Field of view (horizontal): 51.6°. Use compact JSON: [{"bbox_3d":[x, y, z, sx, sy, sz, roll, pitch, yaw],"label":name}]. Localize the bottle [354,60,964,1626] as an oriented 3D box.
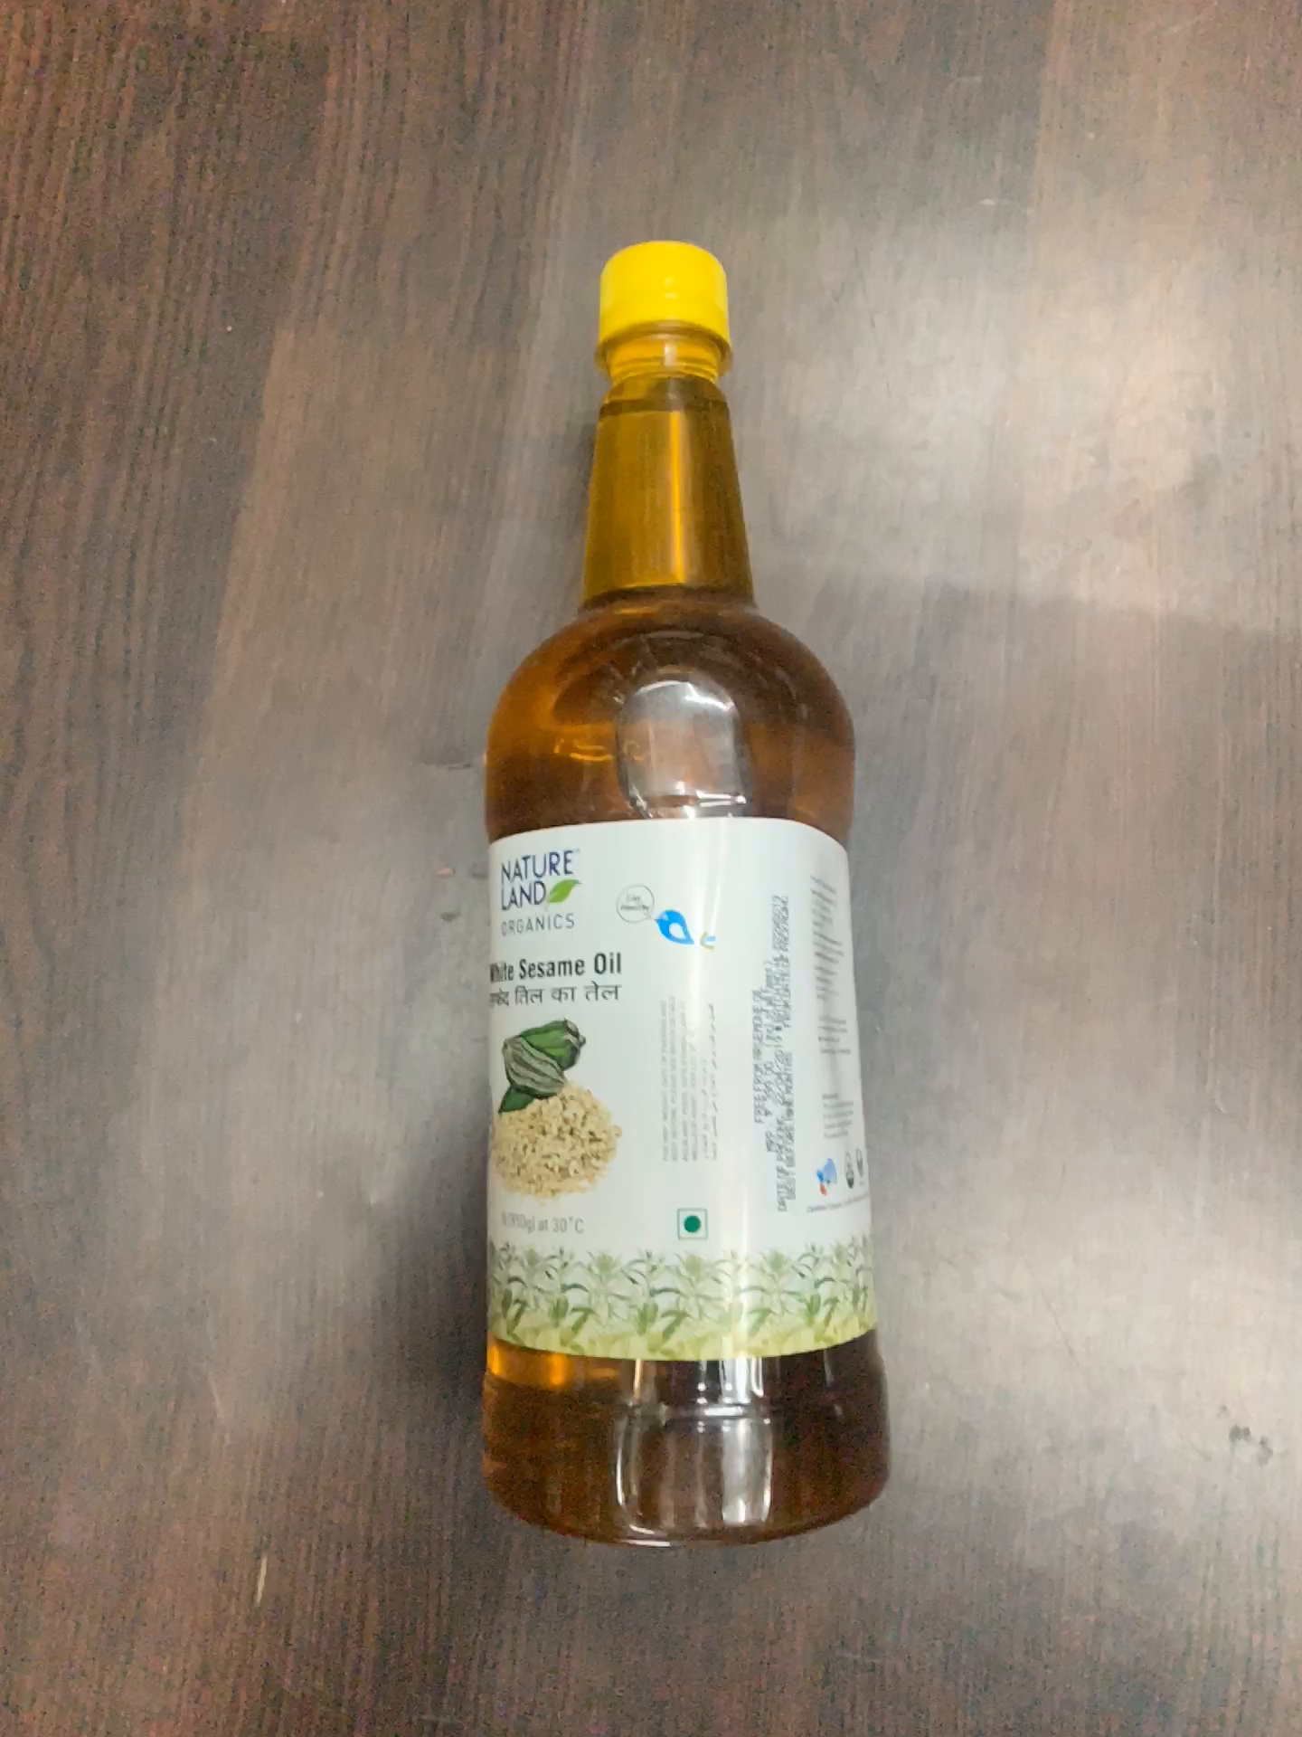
[{"bbox_3d":[0.003,-0.007,0.288,0.080,0.090,0.270,-9,77,45],"label":"bottle"}]
